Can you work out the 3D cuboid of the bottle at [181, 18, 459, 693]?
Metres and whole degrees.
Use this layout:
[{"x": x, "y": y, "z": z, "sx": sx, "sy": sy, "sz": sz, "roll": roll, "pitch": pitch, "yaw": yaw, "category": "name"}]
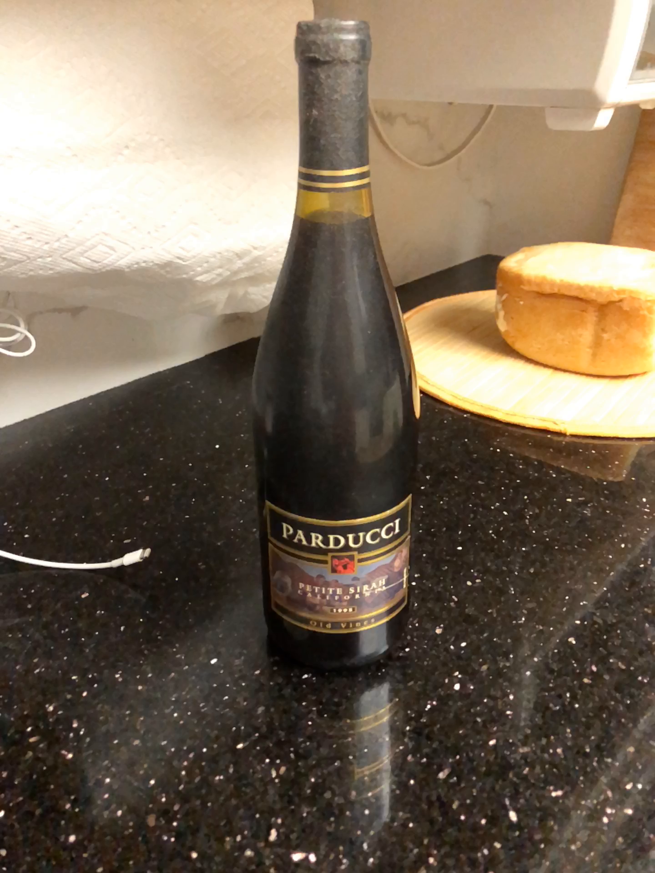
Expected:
[{"x": -0.003, "y": -0.024, "z": 0.343, "sx": 0.090, "sy": 0.298, "sz": 0.090, "roll": -1, "pitch": 28, "yaw": 0, "category": "bottle"}]
